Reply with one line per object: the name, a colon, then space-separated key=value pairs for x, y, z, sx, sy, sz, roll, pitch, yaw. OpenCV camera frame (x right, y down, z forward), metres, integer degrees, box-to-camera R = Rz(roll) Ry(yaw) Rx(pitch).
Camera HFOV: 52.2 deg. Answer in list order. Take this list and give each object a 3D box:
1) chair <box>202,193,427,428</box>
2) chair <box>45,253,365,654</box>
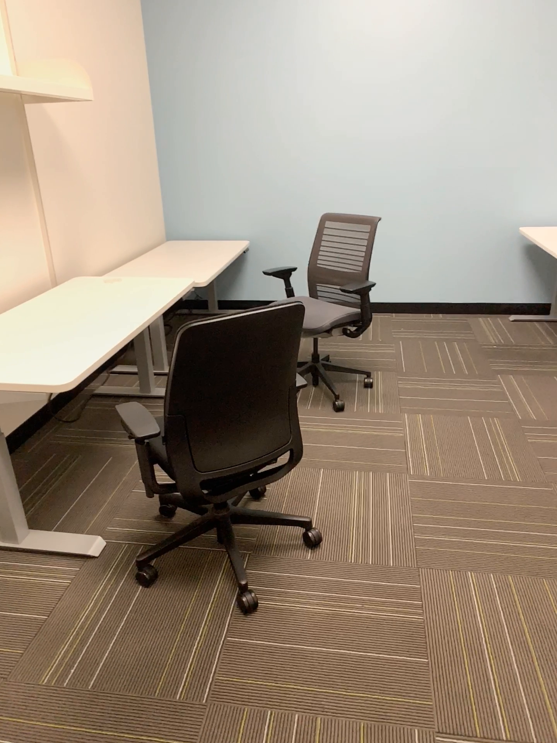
chair: x=0.180 y=-0.414 z=3.133 sx=0.770 sy=0.995 sz=0.894 roll=-18 pitch=27 yaw=-34
chair: x=-0.239 y=0.168 z=1.909 sx=0.680 sy=0.935 sz=0.774 roll=-17 pitch=26 yaw=-33
